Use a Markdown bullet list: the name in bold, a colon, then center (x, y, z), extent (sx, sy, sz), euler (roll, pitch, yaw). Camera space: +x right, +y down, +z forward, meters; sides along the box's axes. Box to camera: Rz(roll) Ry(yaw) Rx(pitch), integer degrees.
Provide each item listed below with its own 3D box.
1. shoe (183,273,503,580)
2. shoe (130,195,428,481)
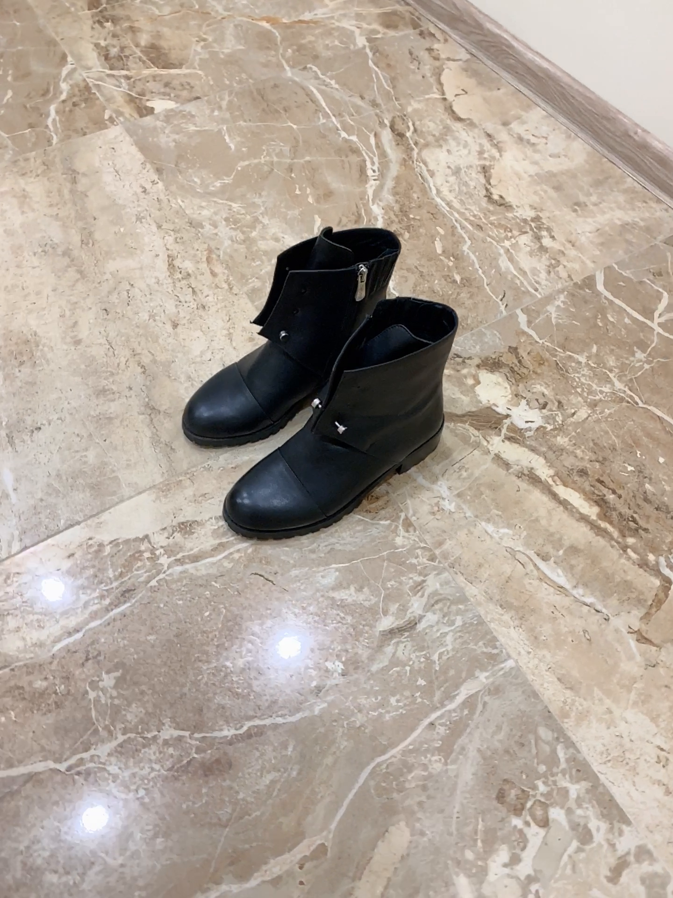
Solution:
- **shoe**: center (0.008, -0.015, 0.642), extent (0.250, 0.199, 0.090), euler (-28, 63, -17)
- **shoe**: center (-0.047, -0.105, 0.696), extent (0.250, 0.199, 0.090), euler (-26, 62, -14)
